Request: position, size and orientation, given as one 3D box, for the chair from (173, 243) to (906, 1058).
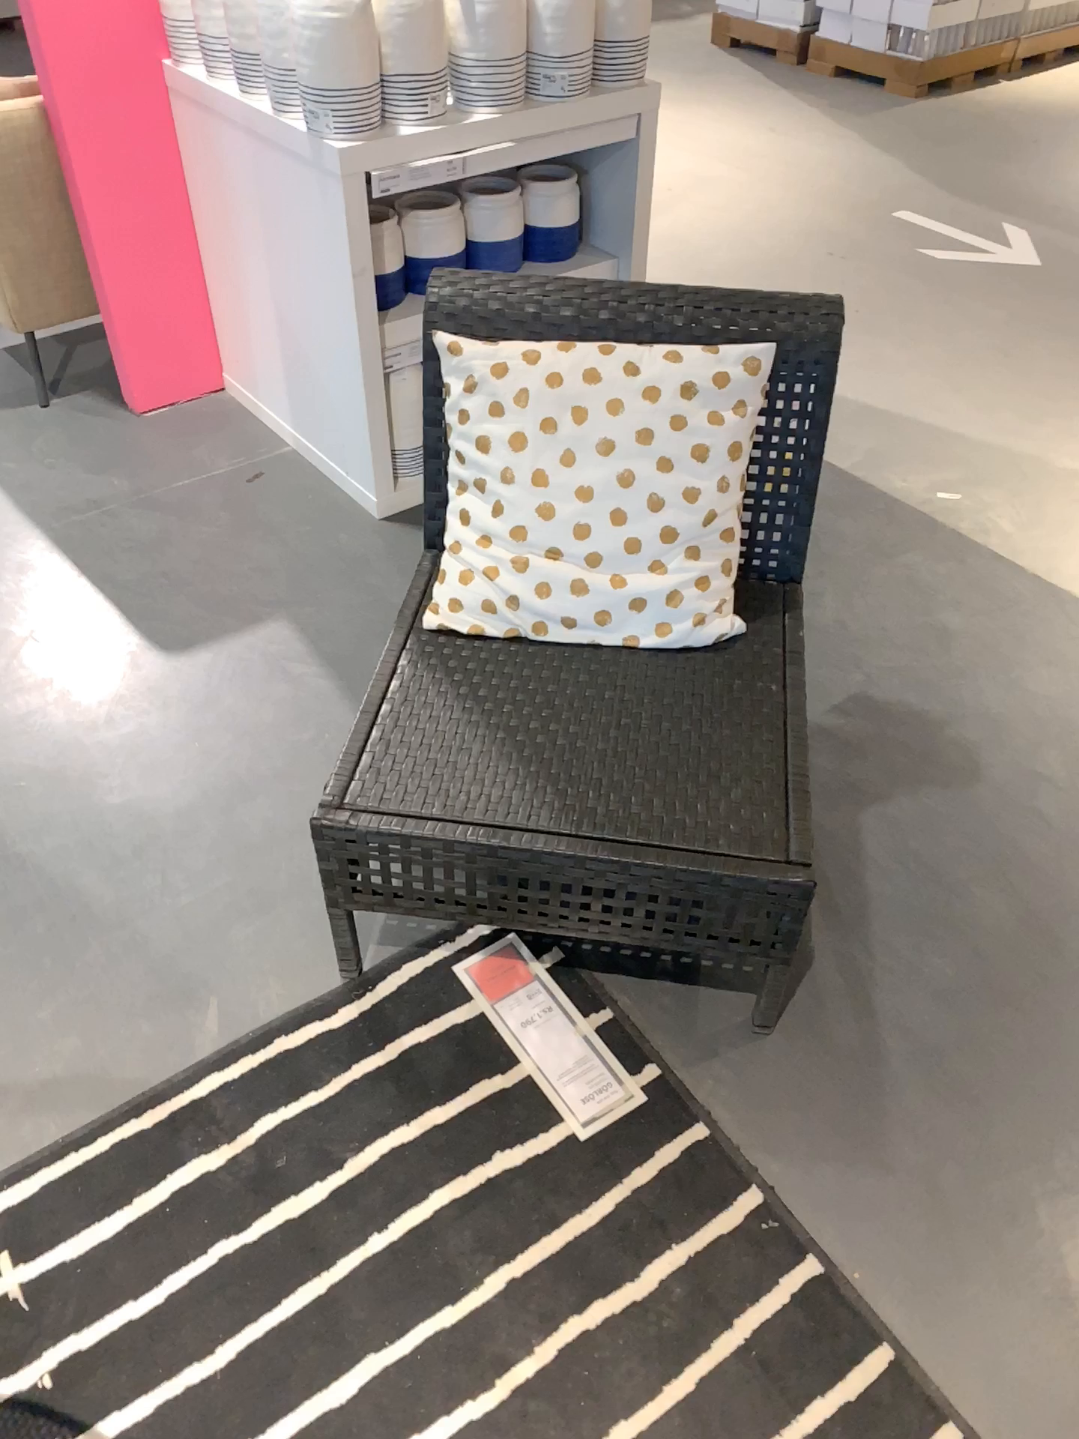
[{"bbox_3d":[0.045,-0.120,1.588,0.700,0.797,0.783,6,43,6],"label":"chair"}]
